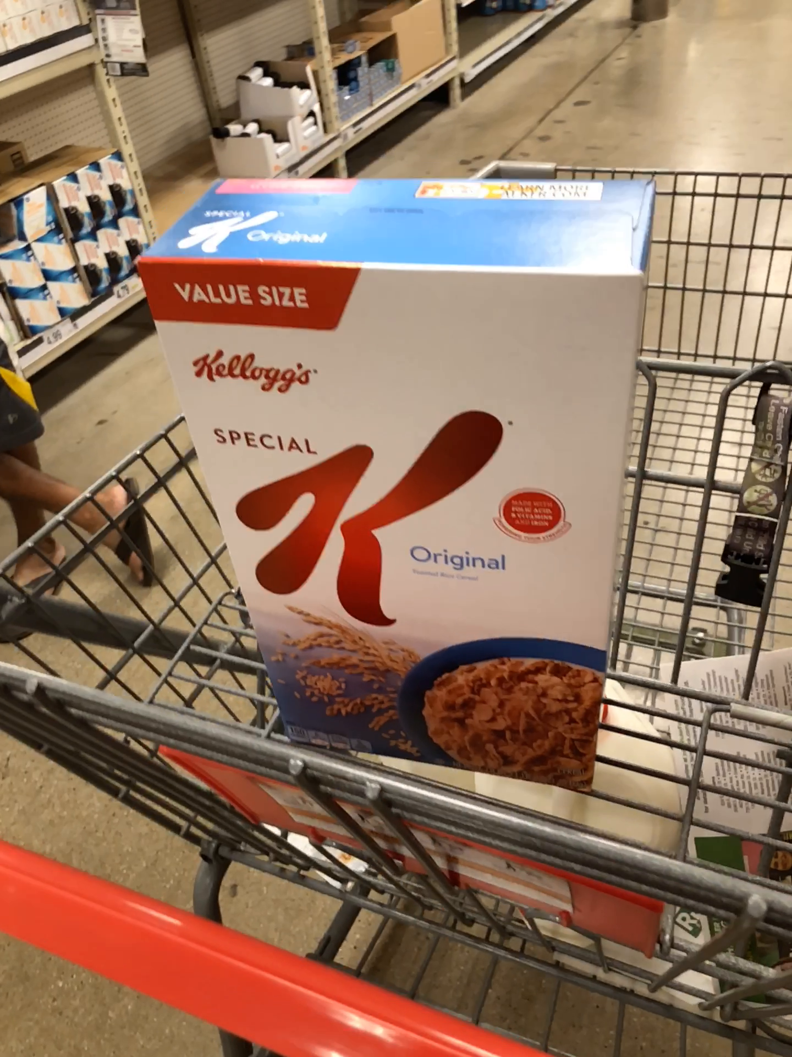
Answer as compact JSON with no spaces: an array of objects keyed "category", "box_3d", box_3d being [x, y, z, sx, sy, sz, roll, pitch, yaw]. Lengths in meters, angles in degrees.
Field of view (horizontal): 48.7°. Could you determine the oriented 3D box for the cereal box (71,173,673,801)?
[{"category":"cereal box","box_3d":[0.007,-0.005,0.459,0.230,0.329,0.080,8,44,18]}]
